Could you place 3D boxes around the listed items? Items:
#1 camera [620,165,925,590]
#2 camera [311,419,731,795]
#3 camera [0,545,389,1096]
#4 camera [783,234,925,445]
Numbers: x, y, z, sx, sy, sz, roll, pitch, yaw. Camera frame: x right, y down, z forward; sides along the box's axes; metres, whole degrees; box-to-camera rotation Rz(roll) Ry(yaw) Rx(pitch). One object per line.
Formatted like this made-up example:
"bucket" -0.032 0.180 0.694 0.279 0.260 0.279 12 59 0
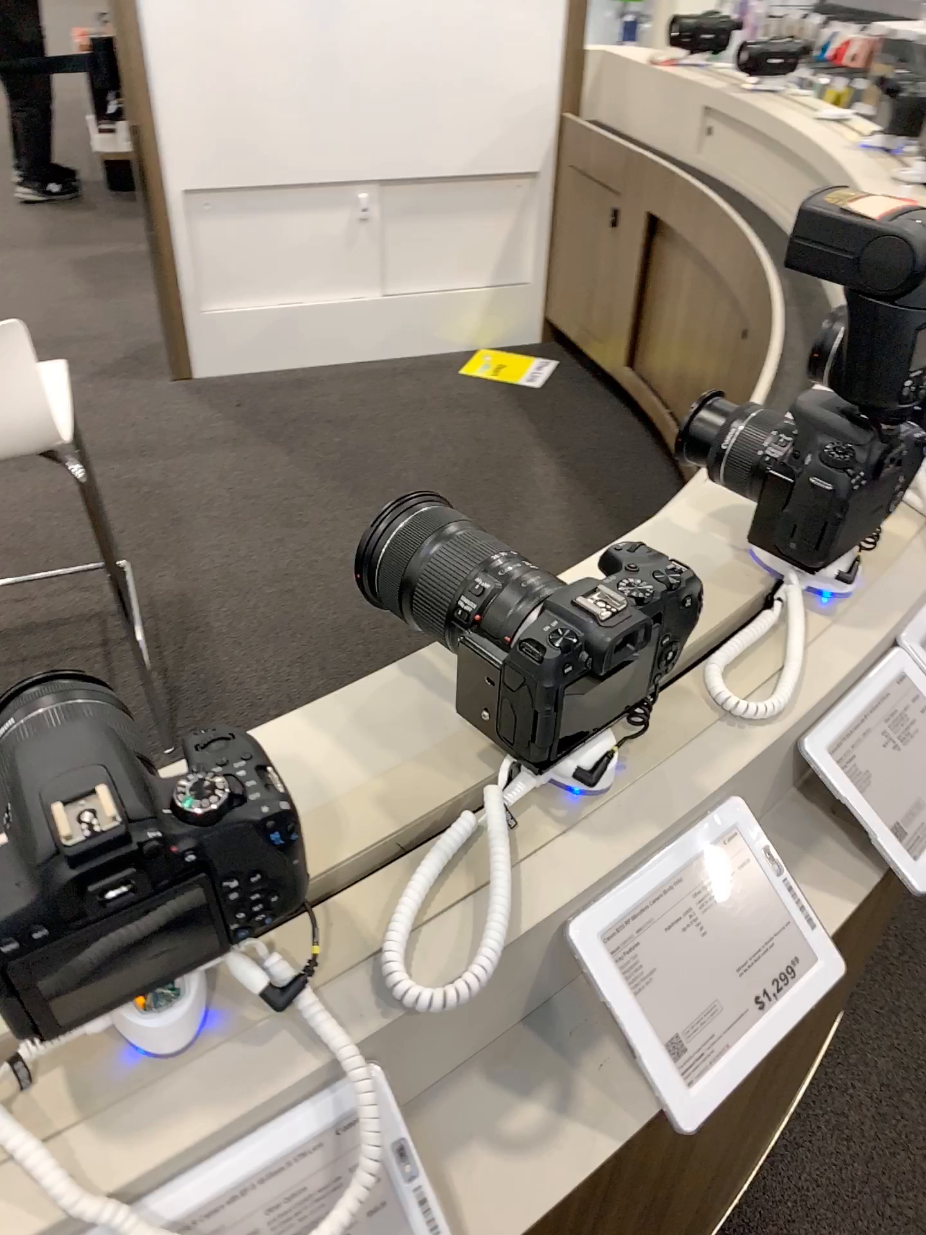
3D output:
"camera" 0.241 -0.176 0.675 0.150 0.219 0.171 -30 48 -34
"camera" 0.028 -0.019 0.574 0.140 0.099 0.201 -29 48 -34
"camera" -0.143 0.079 0.438 0.150 0.119 0.171 -21 44 -27
"camera" 0.414 -0.253 0.841 0.191 0.099 0.140 29 45 29
